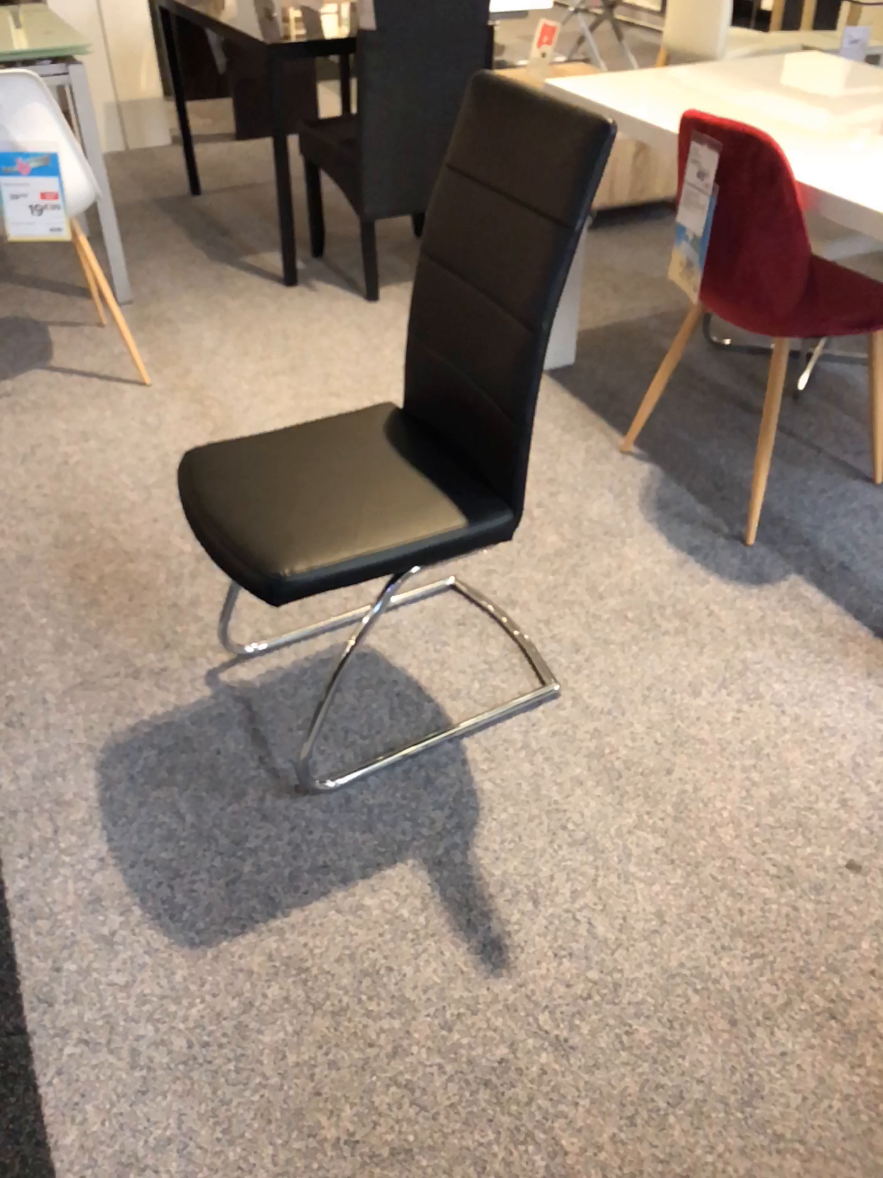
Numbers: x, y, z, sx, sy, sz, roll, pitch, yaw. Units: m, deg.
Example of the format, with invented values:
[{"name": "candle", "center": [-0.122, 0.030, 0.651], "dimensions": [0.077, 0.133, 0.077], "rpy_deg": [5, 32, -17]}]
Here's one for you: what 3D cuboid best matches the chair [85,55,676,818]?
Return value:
[{"name": "chair", "center": [-0.094, -0.229, 1.465], "dimensions": [0.562, 0.904, 0.491], "rpy_deg": [-19, 42, -23]}]
